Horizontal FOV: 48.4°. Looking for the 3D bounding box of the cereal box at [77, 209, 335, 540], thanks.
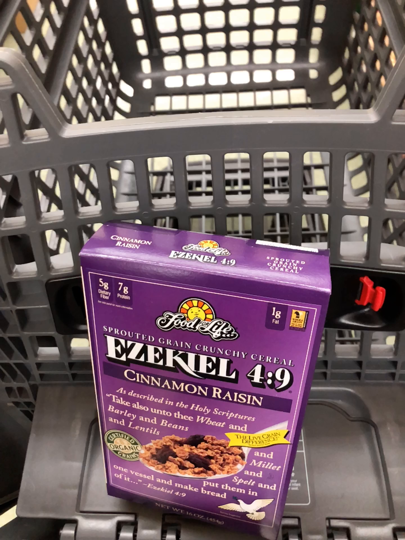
[{"bbox_3d":[-0.001,0.090,0.345,0.150,0.250,0.060,9,31,9],"label":"cereal box"}]
